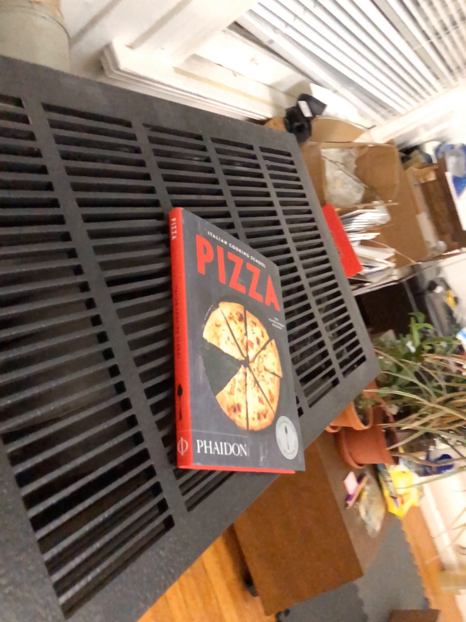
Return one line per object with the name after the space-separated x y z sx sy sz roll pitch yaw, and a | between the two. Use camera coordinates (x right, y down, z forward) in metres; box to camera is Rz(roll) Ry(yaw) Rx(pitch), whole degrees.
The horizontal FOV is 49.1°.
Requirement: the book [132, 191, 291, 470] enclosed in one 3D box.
-0.017 0.026 0.477 0.181 0.020 0.230 23 54 -48 | book
